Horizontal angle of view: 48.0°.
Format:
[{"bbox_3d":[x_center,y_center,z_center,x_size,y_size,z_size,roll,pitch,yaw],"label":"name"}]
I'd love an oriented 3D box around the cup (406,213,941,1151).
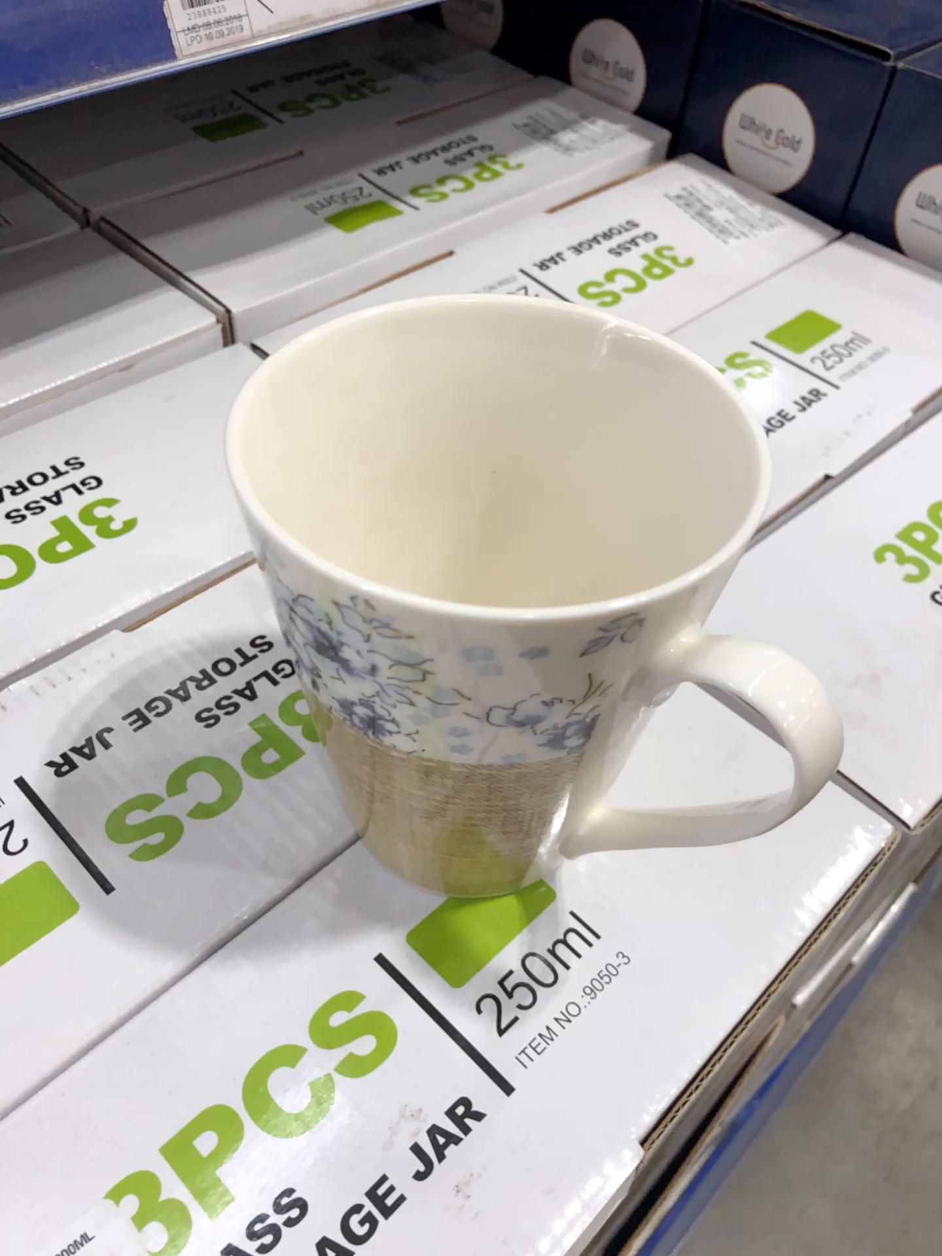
[{"bbox_3d":[0.064,0.003,0.210,0.090,0.100,0.130,-27,56,-28],"label":"cup"}]
